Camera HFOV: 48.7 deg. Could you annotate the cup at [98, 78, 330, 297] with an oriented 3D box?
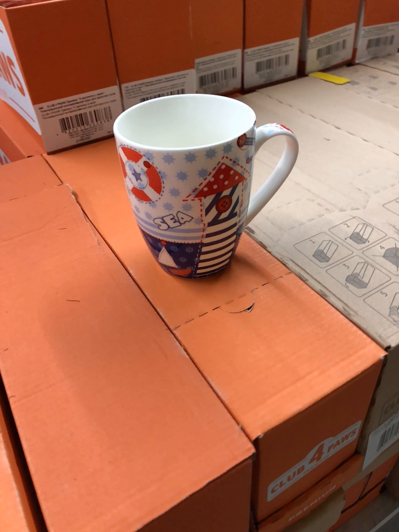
[{"bbox_3d":[0.005,-0.055,0.287,0.112,0.092,0.086,-14,41,-14],"label":"cup"}]
